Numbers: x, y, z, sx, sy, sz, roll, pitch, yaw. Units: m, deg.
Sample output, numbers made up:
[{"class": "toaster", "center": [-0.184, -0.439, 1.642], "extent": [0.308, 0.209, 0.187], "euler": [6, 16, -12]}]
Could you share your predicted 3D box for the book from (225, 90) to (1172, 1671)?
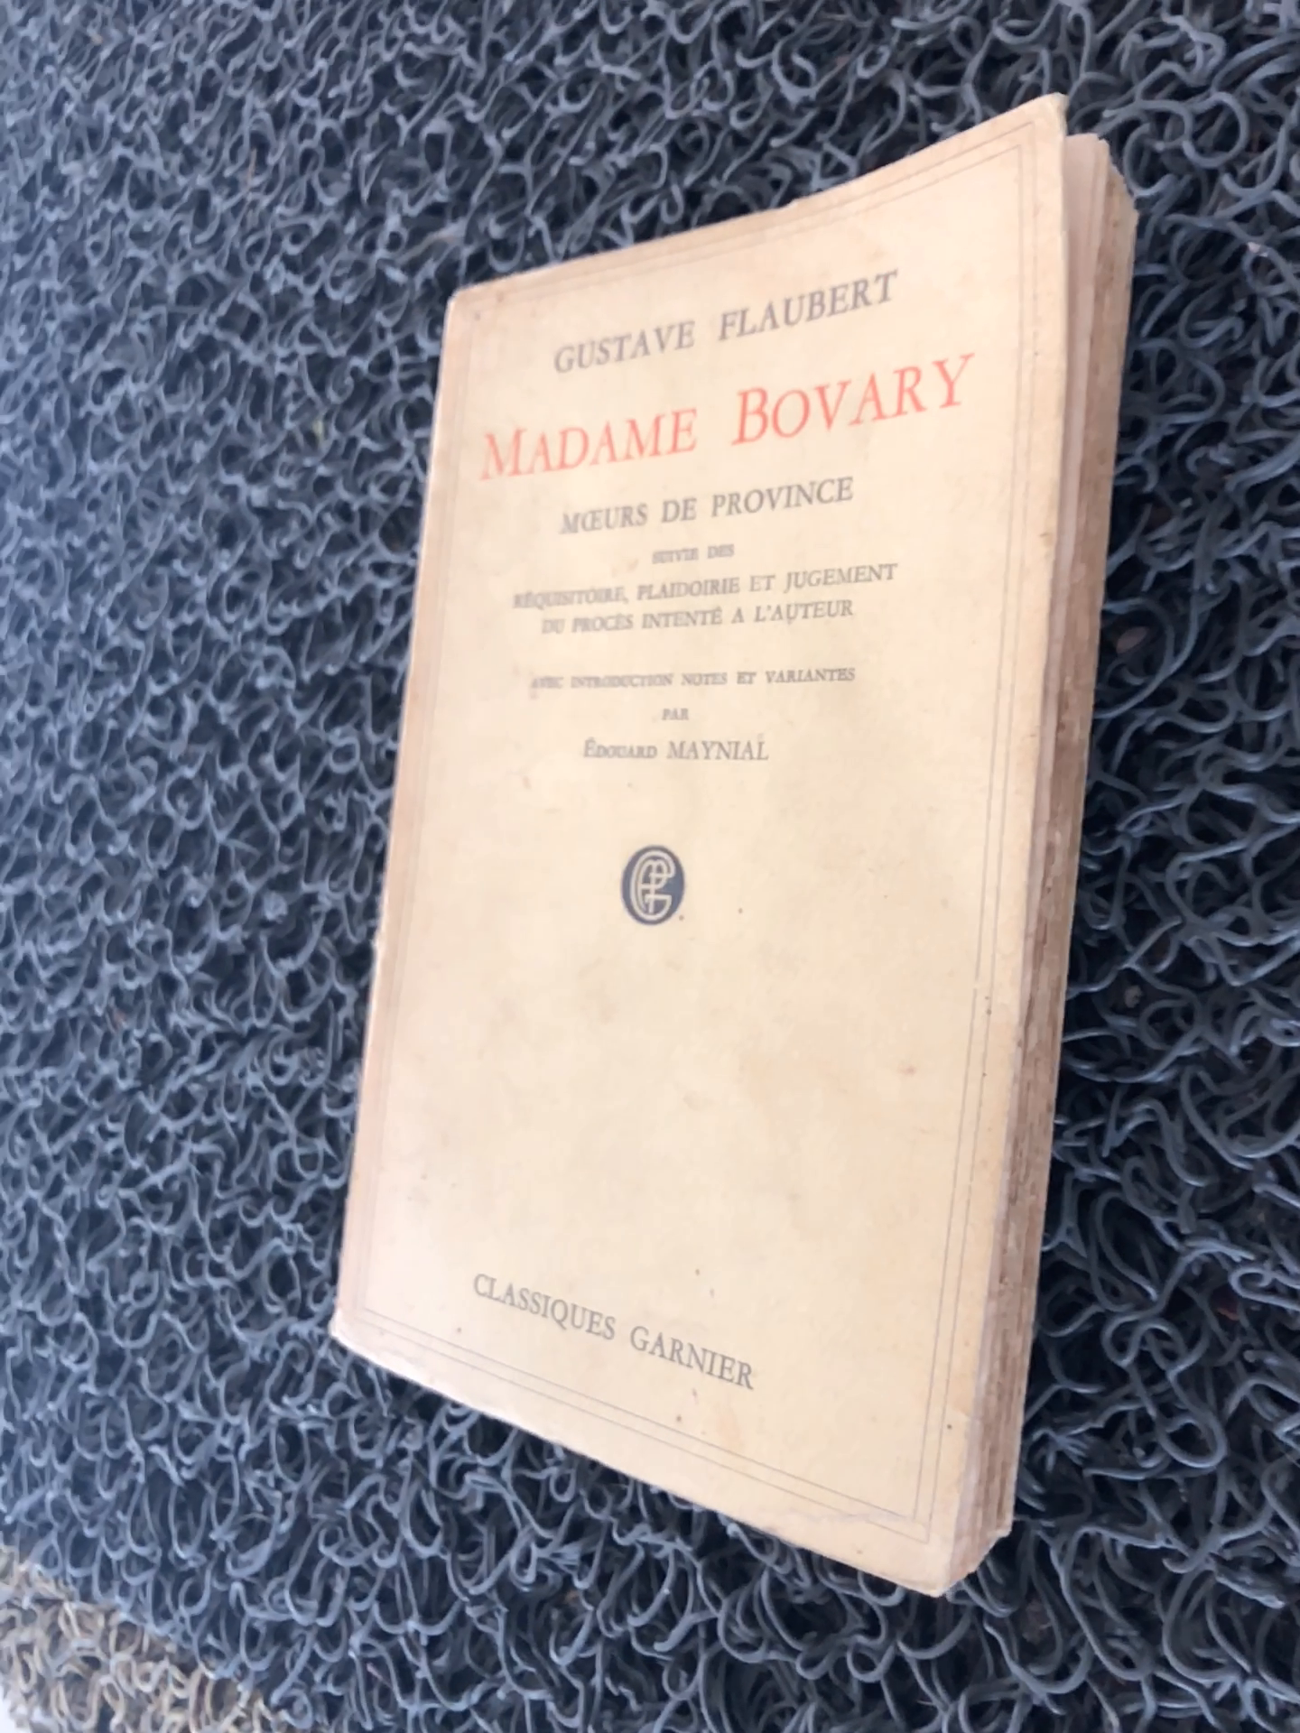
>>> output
[{"class": "book", "center": [0.001, -0.003, 0.217], "extent": [0.124, 0.035, 0.180], "euler": [4, 86, 38]}]
